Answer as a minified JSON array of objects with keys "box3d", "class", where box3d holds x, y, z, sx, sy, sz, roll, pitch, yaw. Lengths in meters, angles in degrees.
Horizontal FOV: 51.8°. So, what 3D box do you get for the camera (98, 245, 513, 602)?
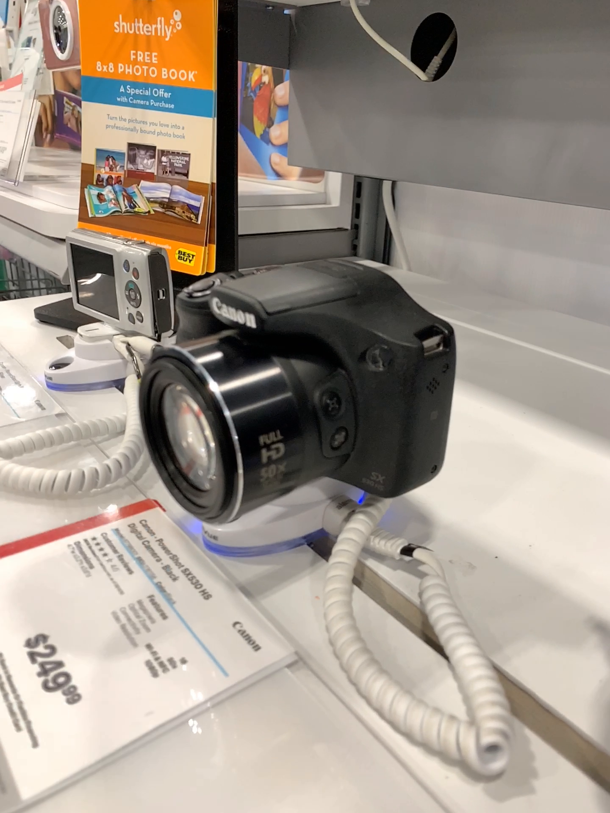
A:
[{"box3d":[-0.006,-0.009,0.246,0.100,0.080,0.120,-15,29,-34],"class":"camera"}]
